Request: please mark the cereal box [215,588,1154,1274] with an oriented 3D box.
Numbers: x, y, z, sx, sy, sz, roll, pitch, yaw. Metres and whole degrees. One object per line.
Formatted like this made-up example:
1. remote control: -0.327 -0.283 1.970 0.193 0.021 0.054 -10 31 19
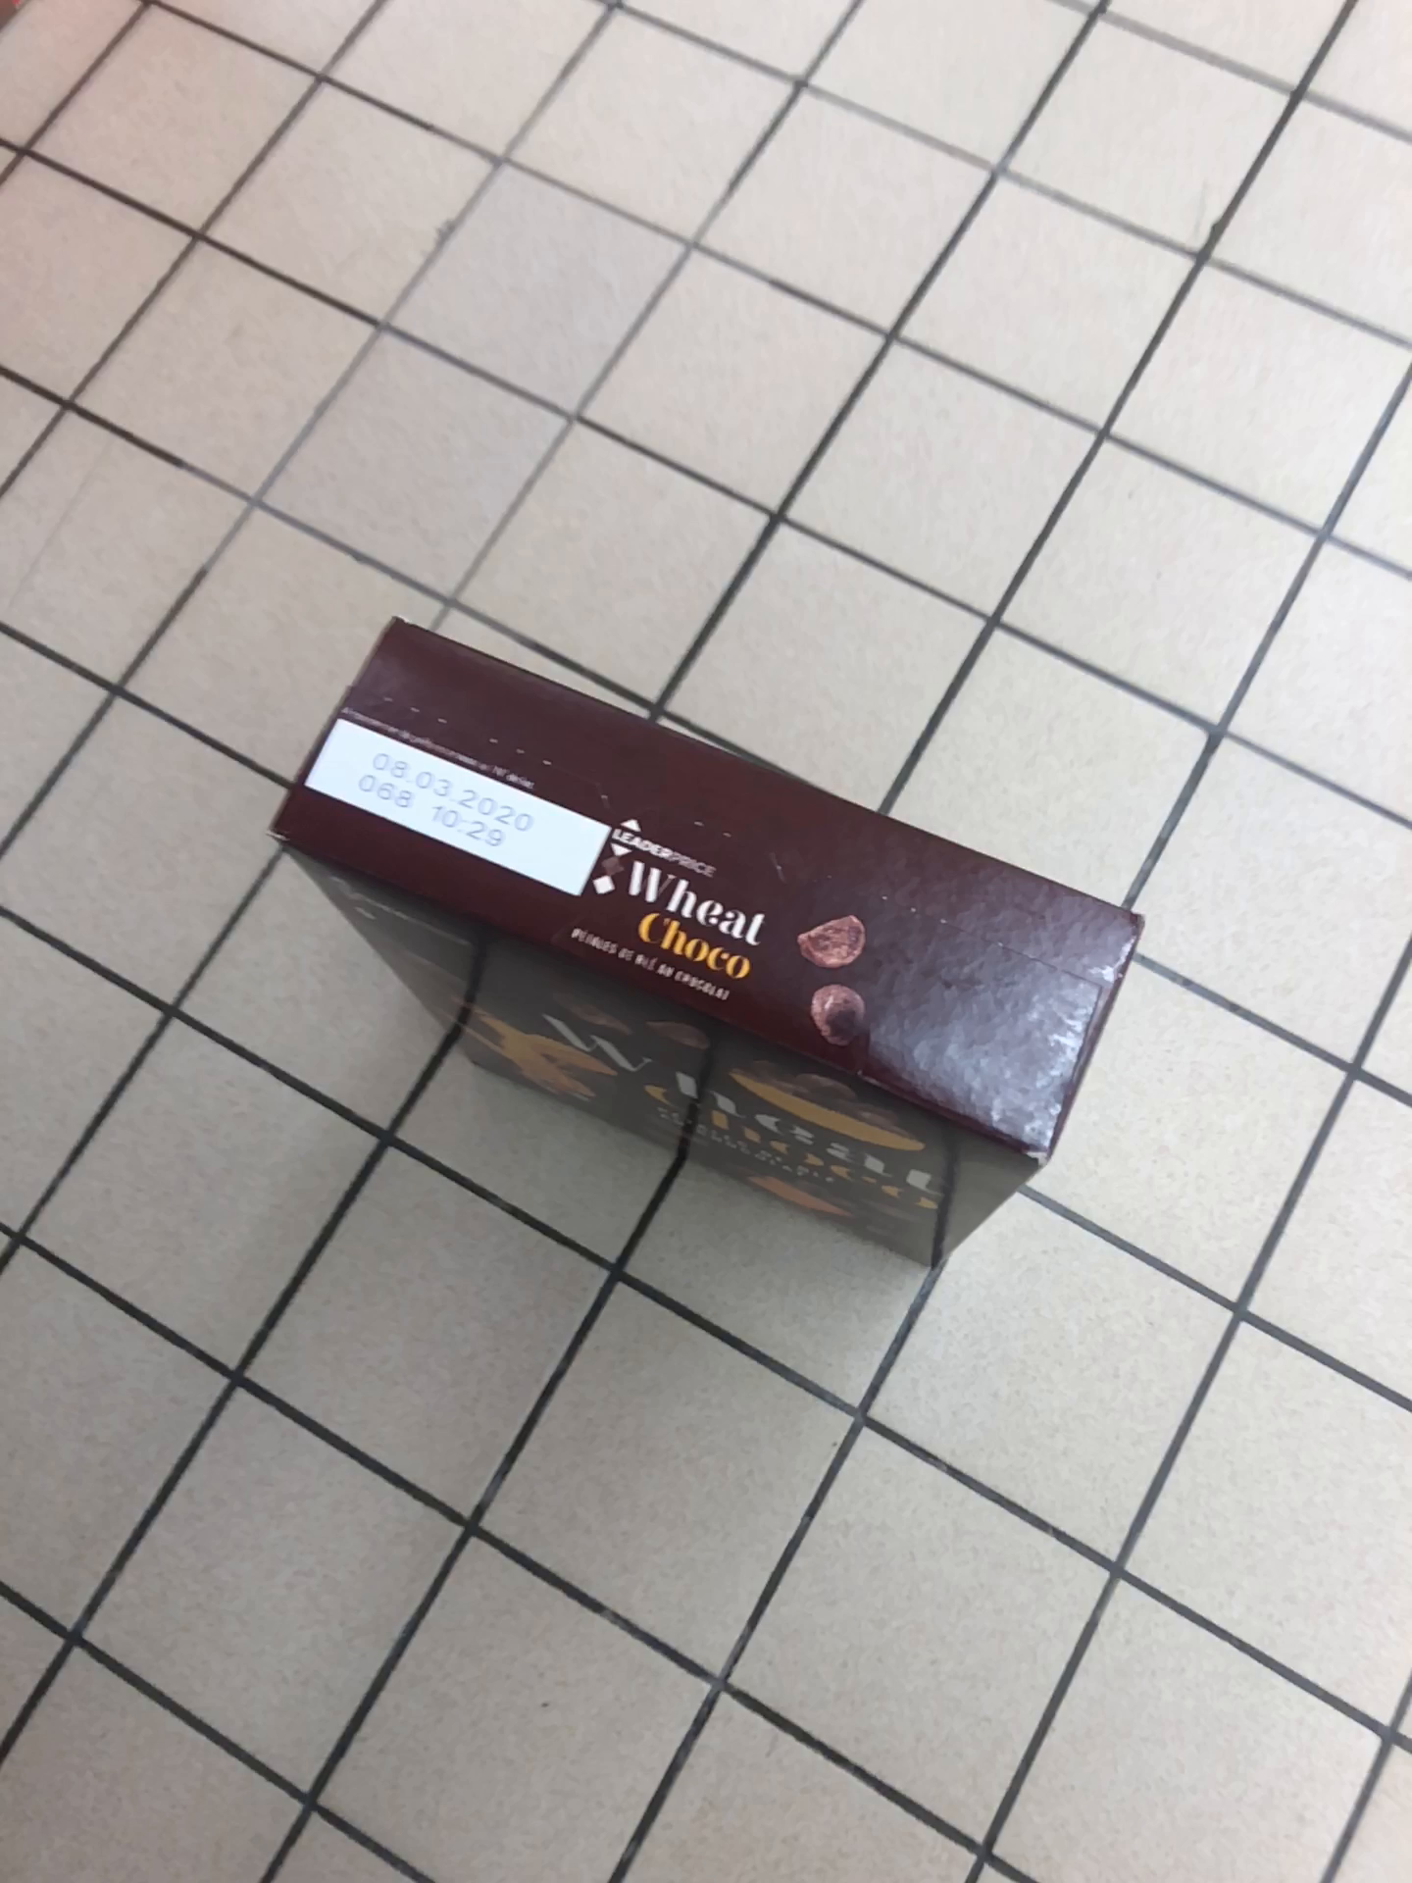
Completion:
1. cereal box: -0.001 0.018 0.469 0.200 0.250 0.070 23 77 9
